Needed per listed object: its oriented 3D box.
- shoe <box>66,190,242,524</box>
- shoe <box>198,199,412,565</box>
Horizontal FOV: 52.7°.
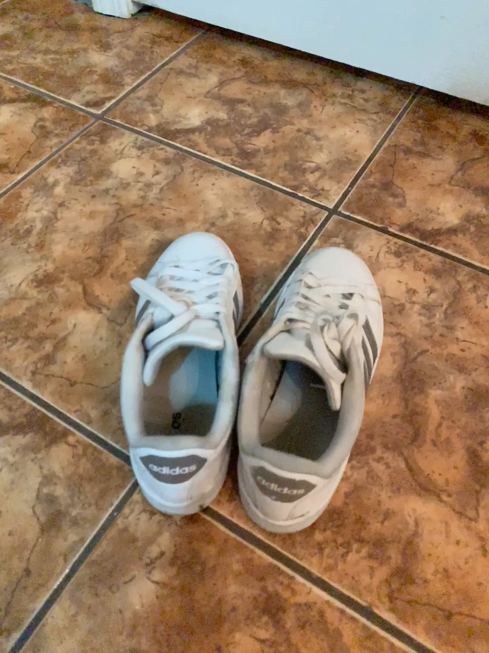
[{"bbox_3d":[-0.055,0.014,0.408,0.101,0.104,0.257,-1,54,0],"label":"shoe"},{"bbox_3d":[0.058,0.030,0.394,0.101,0.104,0.257,13,55,10],"label":"shoe"}]
